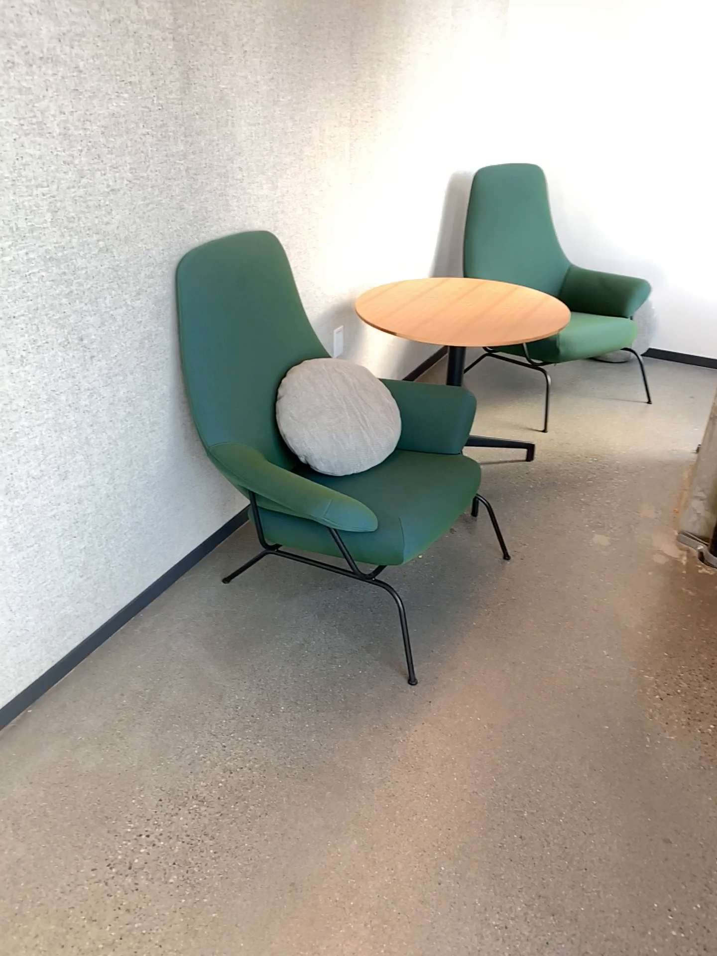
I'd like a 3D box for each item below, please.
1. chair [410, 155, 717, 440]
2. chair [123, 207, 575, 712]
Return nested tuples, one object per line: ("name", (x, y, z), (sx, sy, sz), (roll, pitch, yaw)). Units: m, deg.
("chair", (0.879, -0.893, 3.370), (0.821, 0.954, 1.005), (-15, 34, -25))
("chair", (0.004, -0.137, 2.135), (0.852, 1.034, 0.834), (18, 34, 26))
